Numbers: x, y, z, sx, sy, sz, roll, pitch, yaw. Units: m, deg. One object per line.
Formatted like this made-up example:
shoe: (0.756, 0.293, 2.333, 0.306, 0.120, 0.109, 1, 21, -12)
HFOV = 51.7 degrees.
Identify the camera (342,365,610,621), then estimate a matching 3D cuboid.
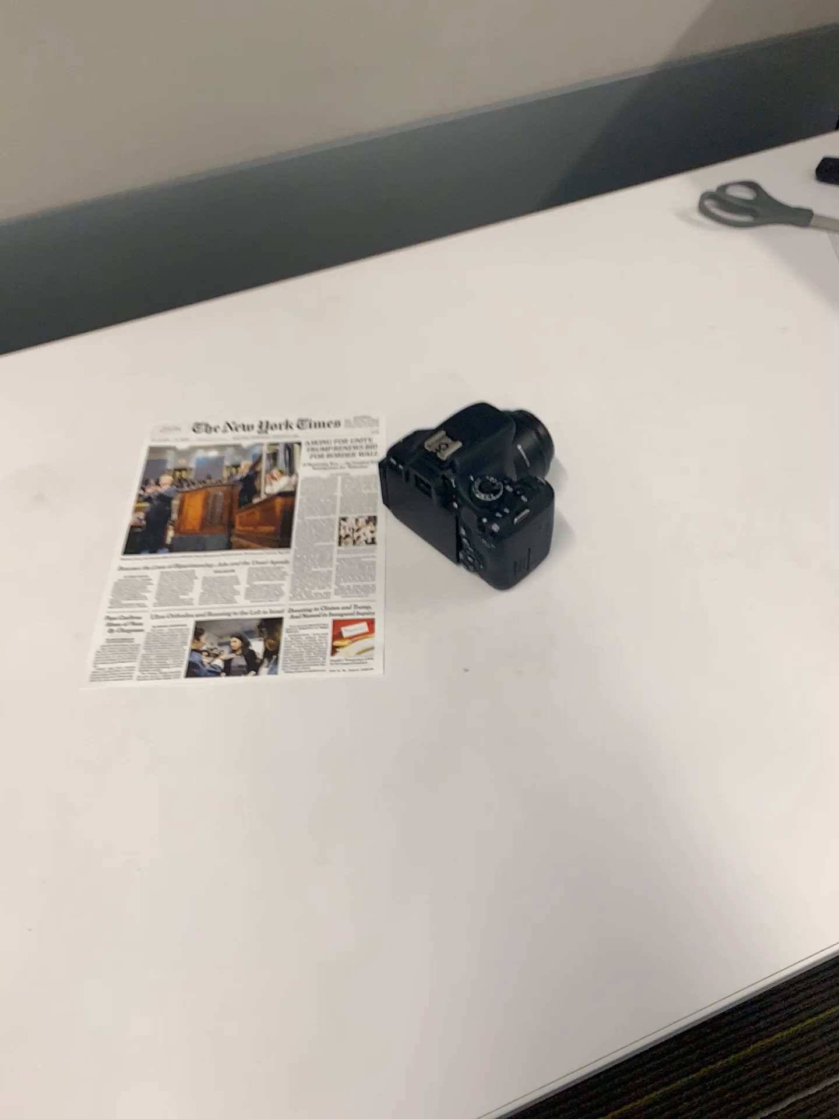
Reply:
camera: (0.045, -0.058, 0.692, 0.152, 0.084, 0.136, 35, 61, 28)
